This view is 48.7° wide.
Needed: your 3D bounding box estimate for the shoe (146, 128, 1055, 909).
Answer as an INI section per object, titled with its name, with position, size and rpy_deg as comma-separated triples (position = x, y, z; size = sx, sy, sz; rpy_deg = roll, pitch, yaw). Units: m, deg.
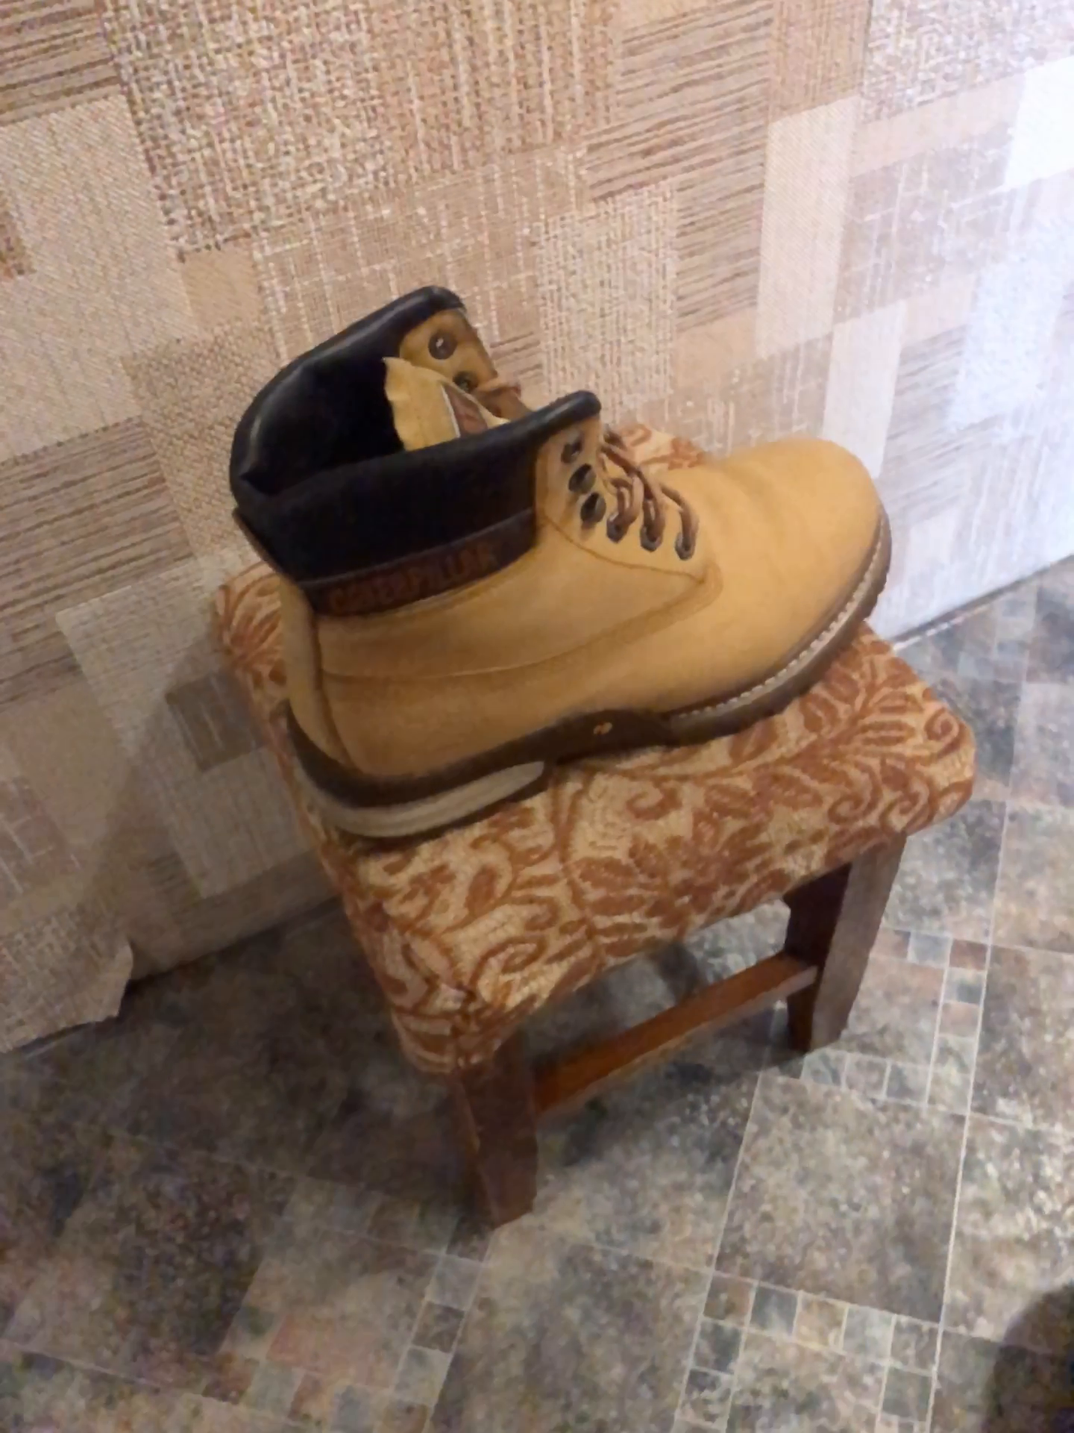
[shoe]
position = 0.027, -0.083, 0.484
size = 0.290, 0.189, 0.131
rpy_deg = -23, 51, -15
